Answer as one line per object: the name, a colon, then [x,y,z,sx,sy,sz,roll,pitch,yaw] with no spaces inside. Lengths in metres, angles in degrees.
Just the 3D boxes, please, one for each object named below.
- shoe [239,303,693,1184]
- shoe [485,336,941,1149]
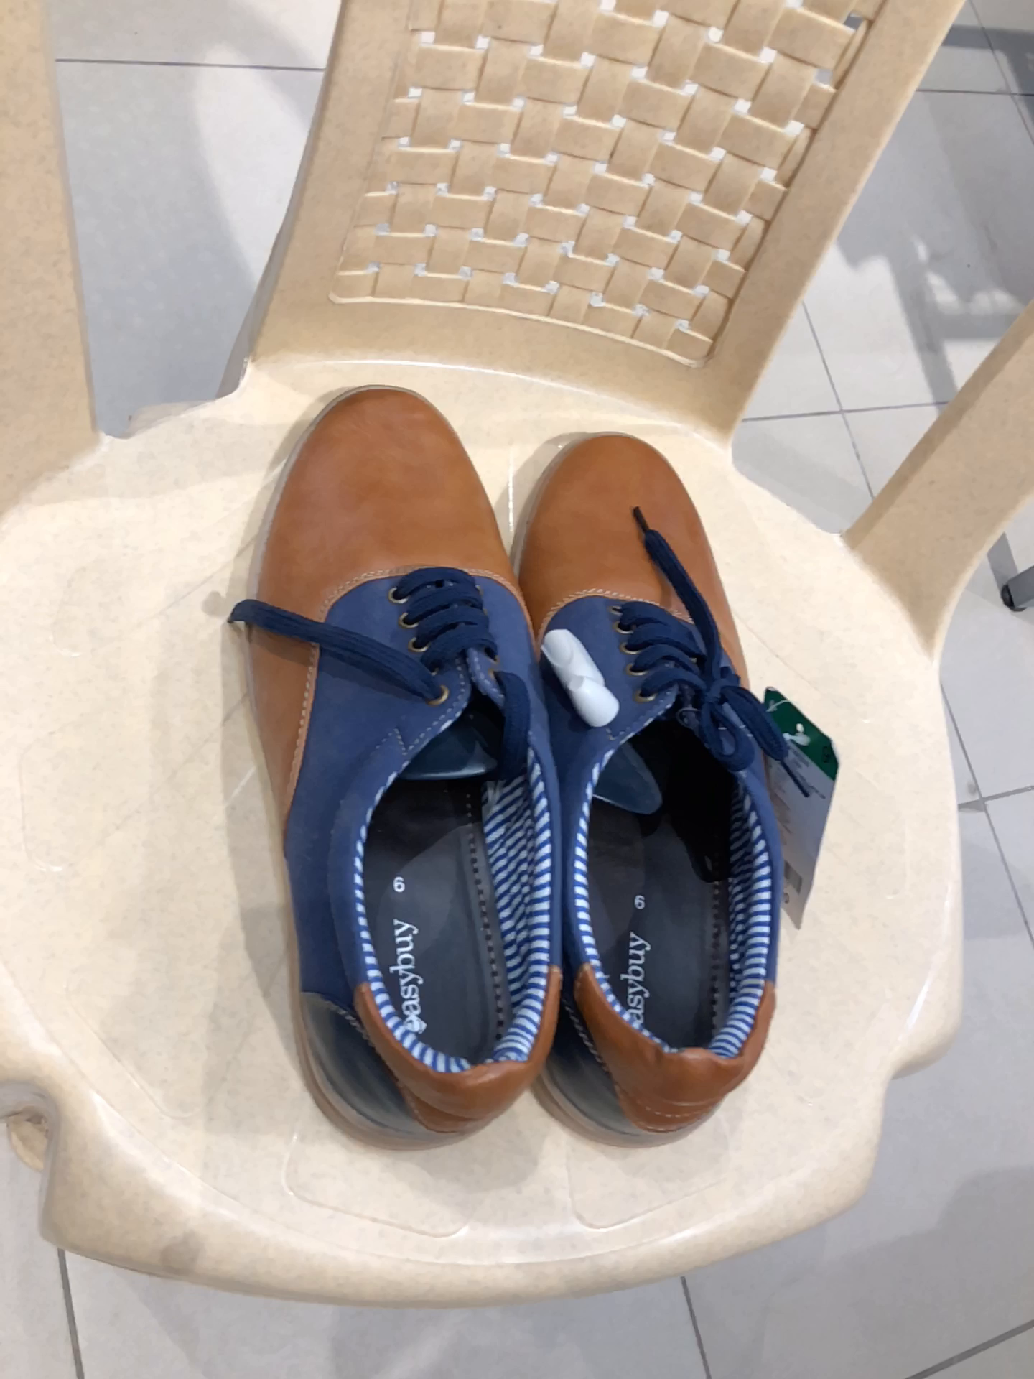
shoe: [-0.032,0.017,0.383,0.104,0.113,0.254,-1,73,-18]
shoe: [0.056,0.024,0.407,0.104,0.120,0.252,6,70,-15]
